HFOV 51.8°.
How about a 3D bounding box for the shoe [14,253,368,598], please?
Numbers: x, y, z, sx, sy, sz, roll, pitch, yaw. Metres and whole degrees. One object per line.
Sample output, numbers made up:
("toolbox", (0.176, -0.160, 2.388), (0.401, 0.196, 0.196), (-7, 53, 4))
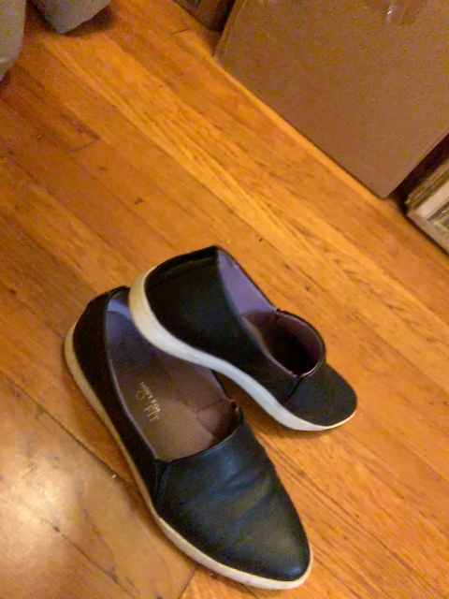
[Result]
("shoe", (-0.032, 0.103, 0.339), (0.100, 0.080, 0.260), (-33, 79, -39))

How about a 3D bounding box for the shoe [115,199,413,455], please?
("shoe", (0.047, 0.042, 0.372), (0.250, 0.080, 0.100), (30, 48, -37))
